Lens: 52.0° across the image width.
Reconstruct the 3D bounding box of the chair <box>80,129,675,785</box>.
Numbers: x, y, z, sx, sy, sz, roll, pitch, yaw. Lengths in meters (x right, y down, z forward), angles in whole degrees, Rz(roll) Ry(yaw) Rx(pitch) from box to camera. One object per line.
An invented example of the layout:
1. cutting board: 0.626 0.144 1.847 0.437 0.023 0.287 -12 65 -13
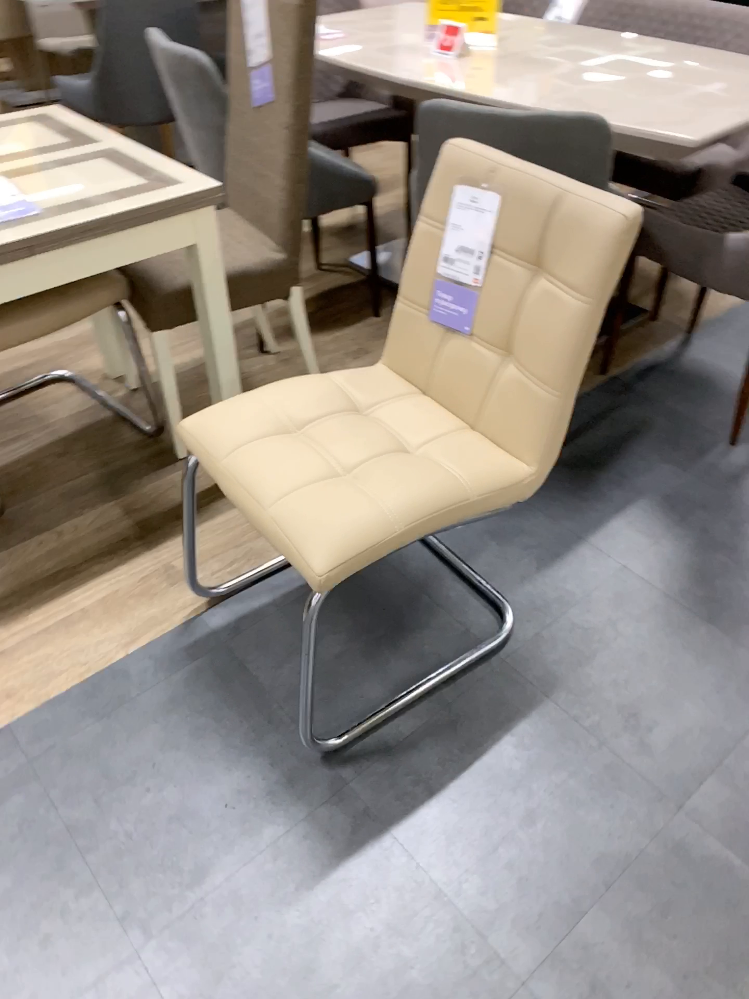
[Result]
1. chair: -0.002 -0.097 1.338 0.652 0.816 0.531 -24 45 -26
